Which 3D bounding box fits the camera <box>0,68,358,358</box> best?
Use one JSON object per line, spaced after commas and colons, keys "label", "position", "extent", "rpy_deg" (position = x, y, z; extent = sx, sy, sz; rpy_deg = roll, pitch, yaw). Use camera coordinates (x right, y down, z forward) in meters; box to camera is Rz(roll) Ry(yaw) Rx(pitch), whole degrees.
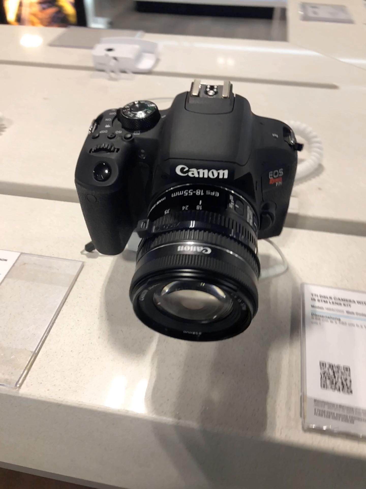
{"label": "camera", "position": [0.002, -0.025, 0.237], "extent": [0.140, 0.099, 0.131], "rpy_deg": [4, 43, 5]}
